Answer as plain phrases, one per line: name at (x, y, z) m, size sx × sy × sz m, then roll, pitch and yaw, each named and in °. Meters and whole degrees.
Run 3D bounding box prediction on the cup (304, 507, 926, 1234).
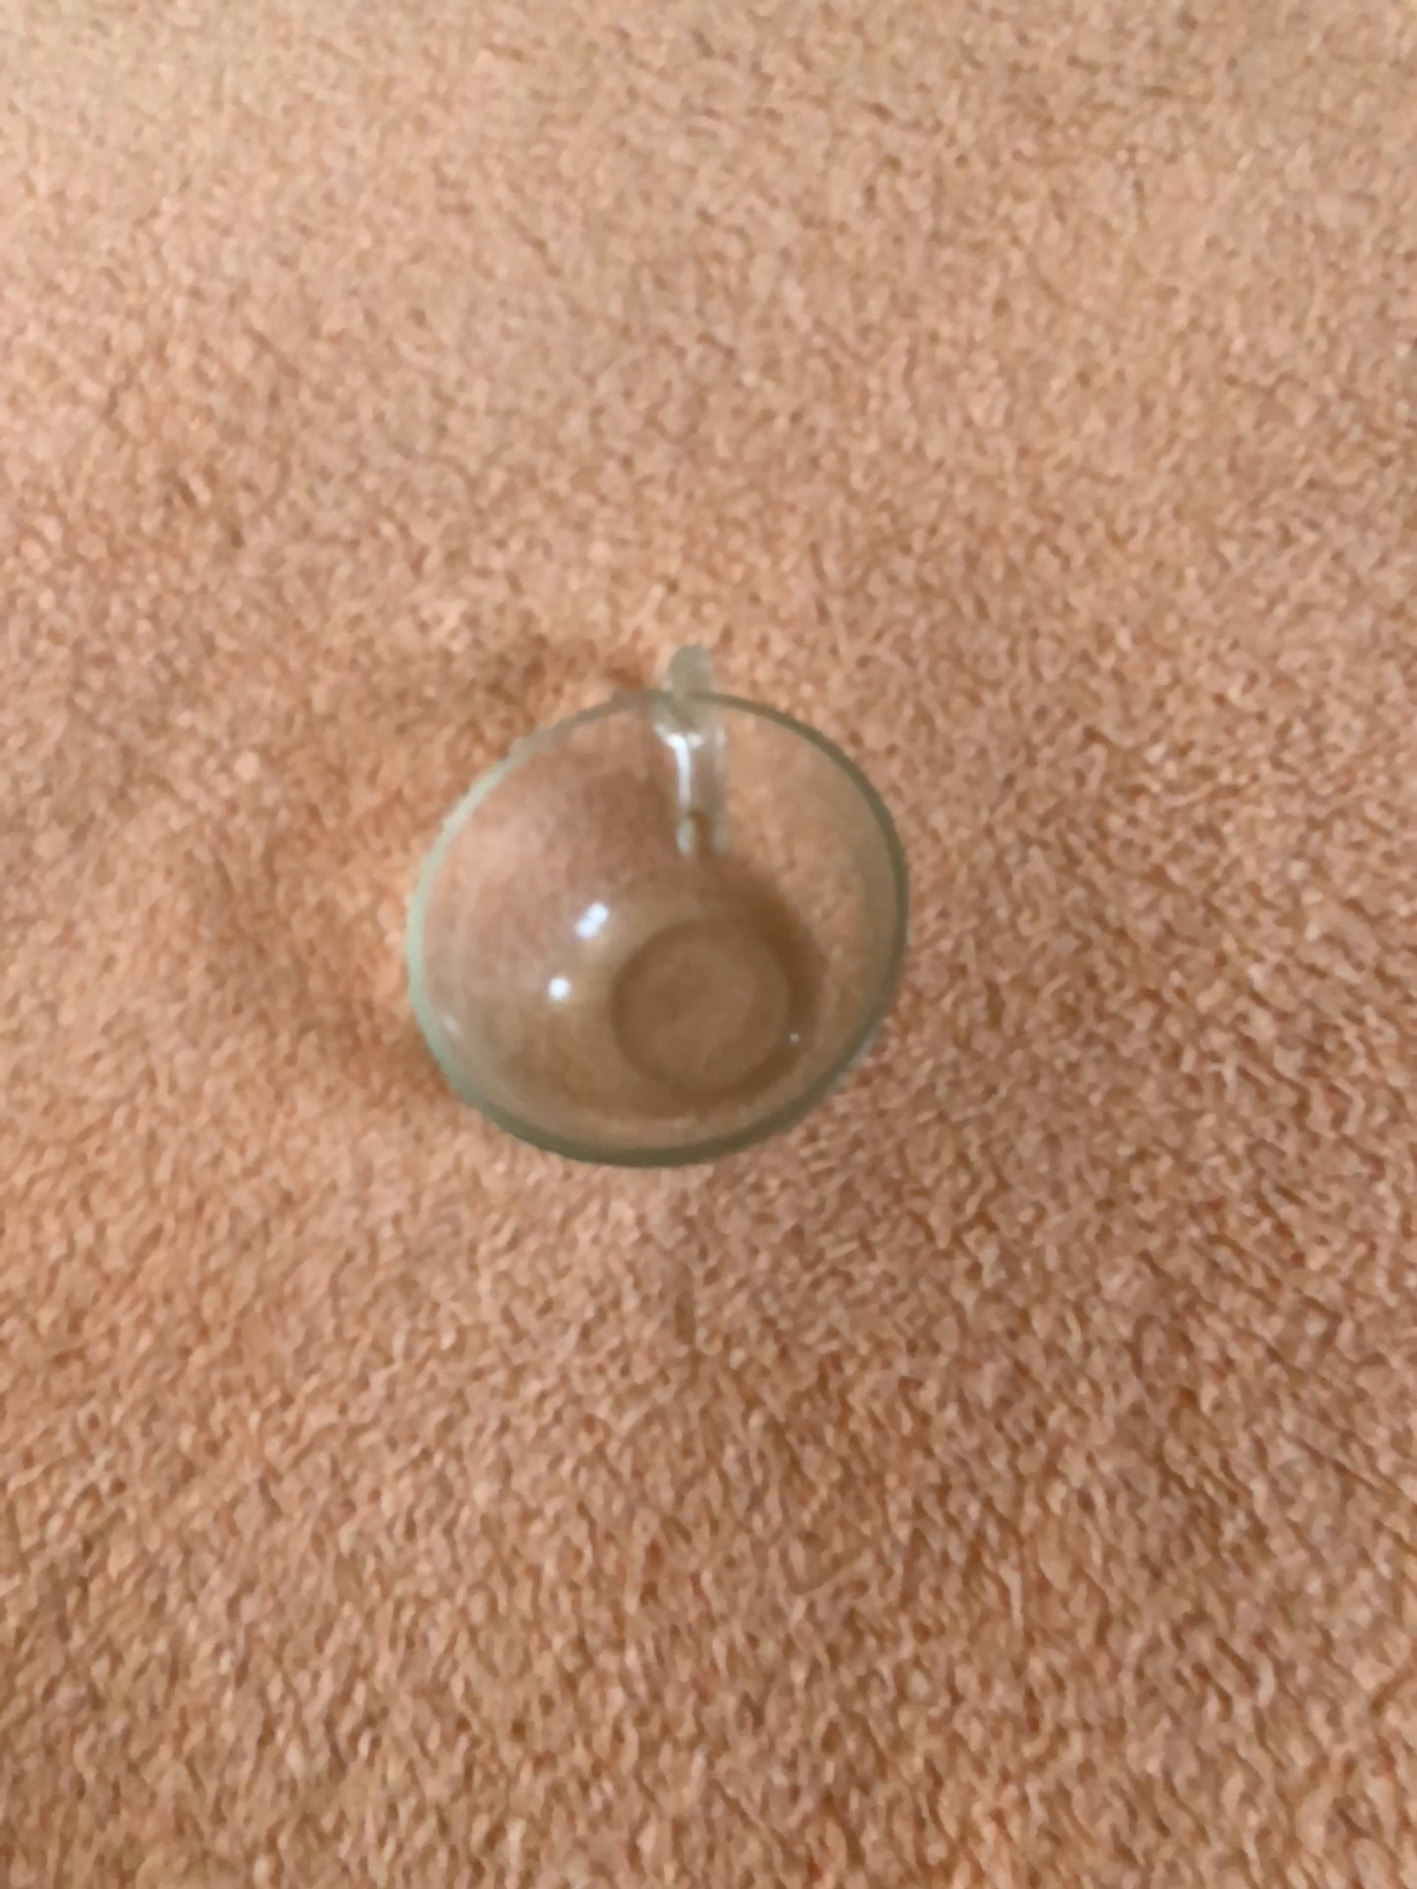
cup at (-0.012, -0.012, 0.268) m, size 0.090 × 0.040 × 0.110 m, roll -3°, pitch 67°, yaw 6°
